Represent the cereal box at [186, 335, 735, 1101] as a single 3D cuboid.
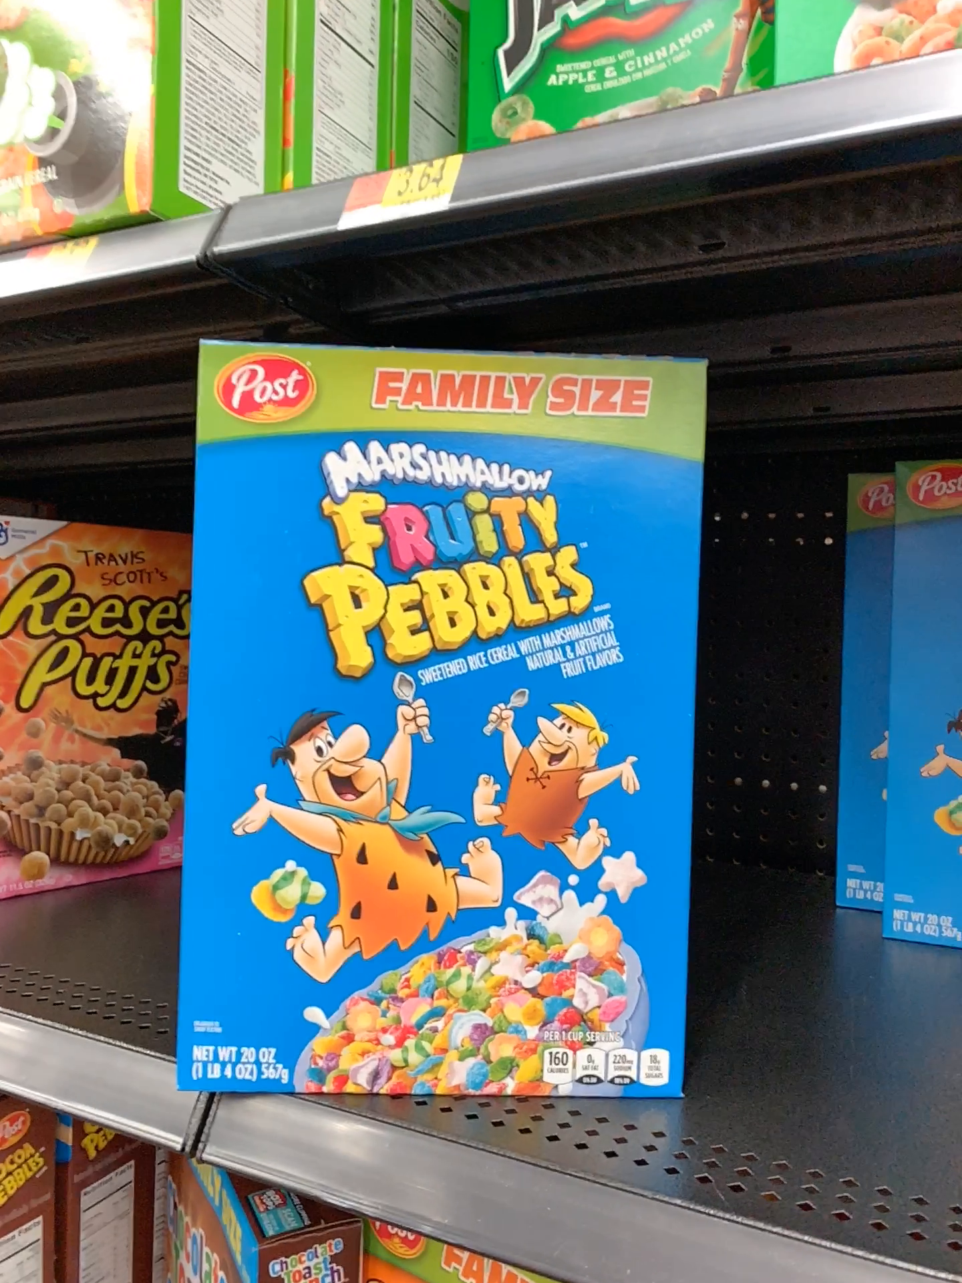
[{"bbox_3d":[-0.010,0.035,0.471,0.230,0.330,0.070,2,1,-2],"label":"cereal box"}]
